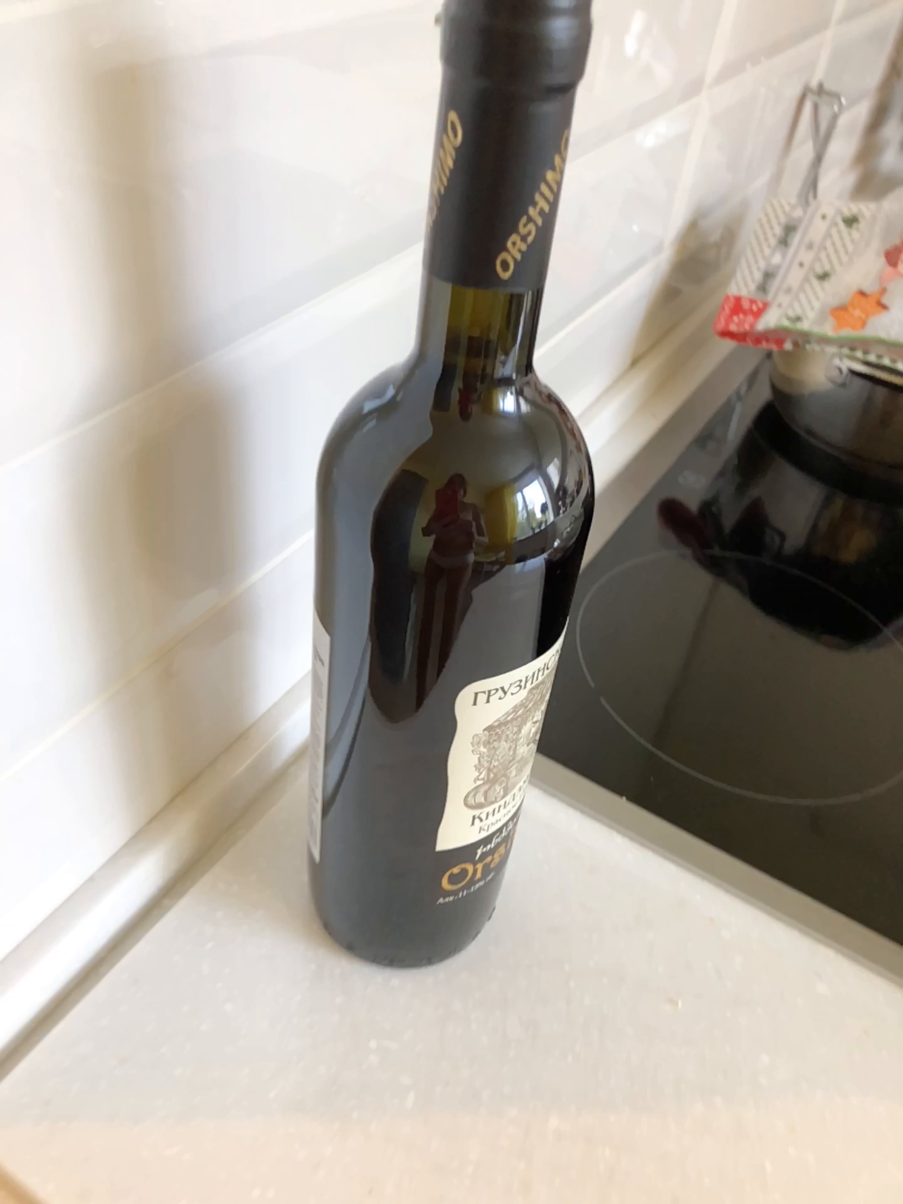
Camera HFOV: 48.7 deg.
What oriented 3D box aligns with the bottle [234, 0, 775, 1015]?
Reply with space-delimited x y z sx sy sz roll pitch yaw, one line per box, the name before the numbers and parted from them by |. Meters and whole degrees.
bottle | -0.001 -0.006 0.288 0.080 0.298 0.081 5 41 -4
